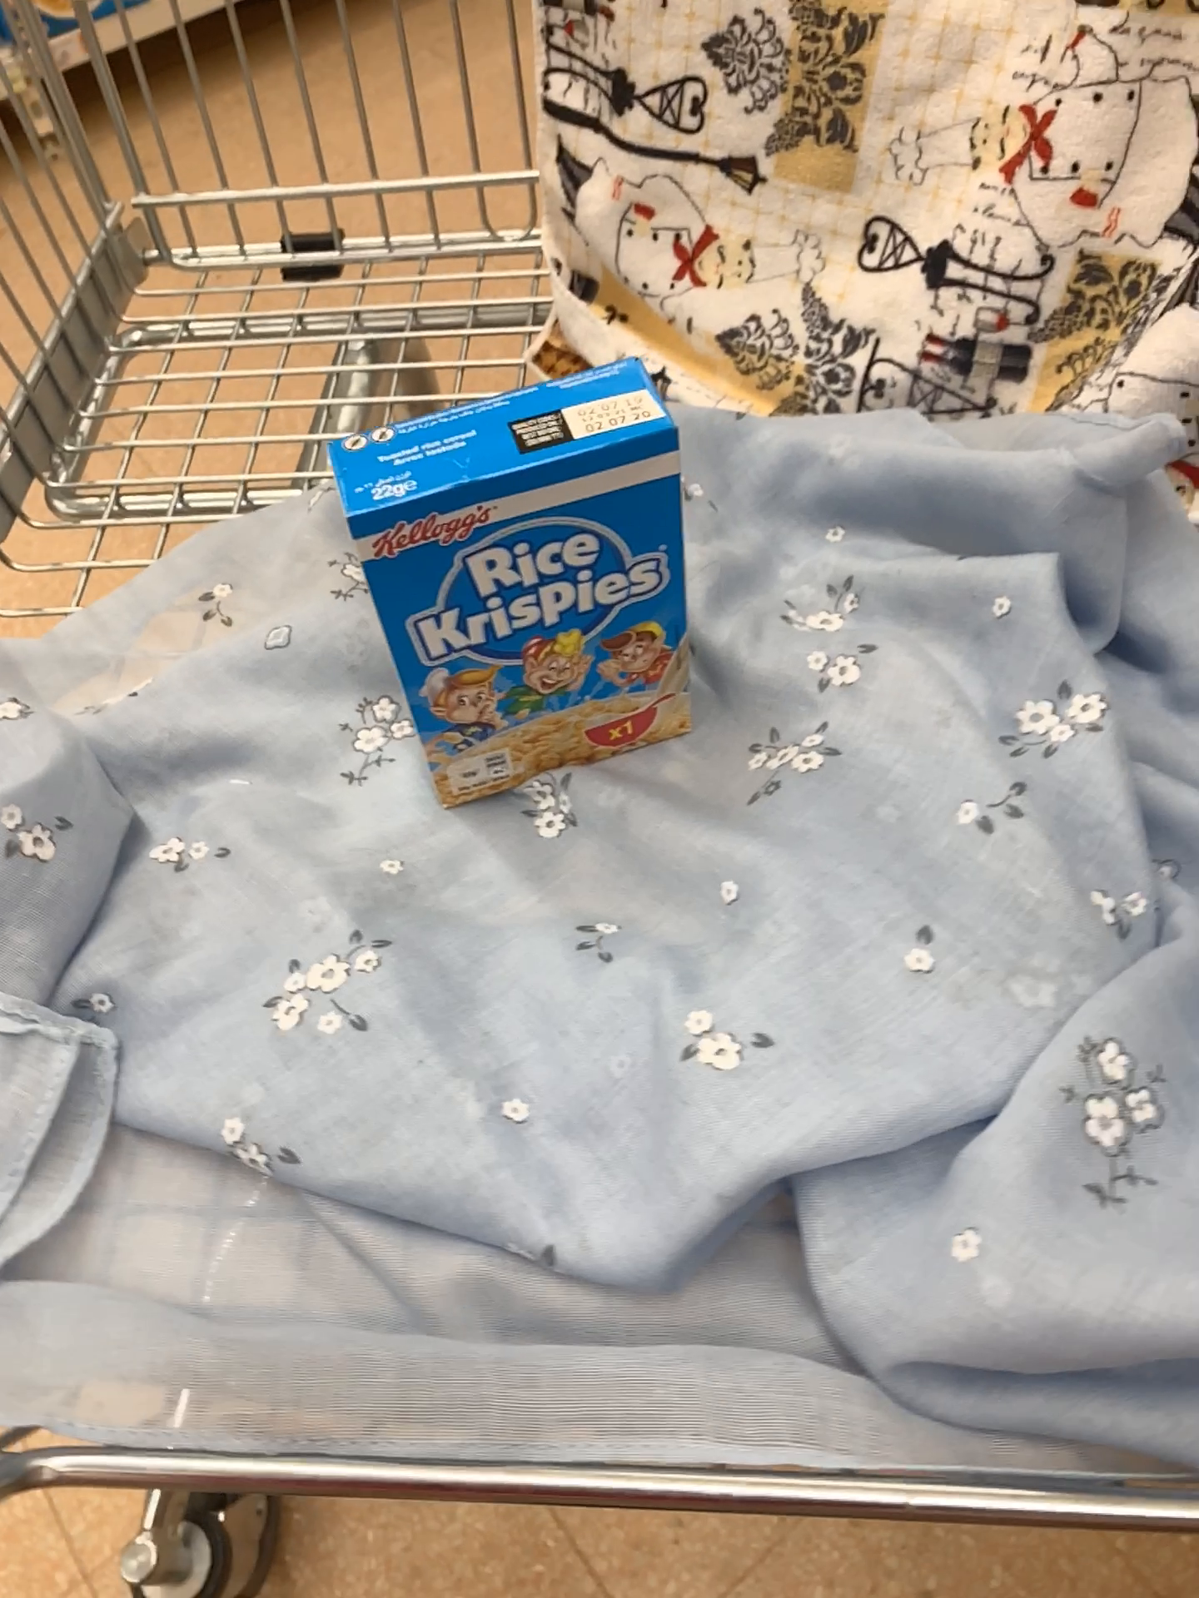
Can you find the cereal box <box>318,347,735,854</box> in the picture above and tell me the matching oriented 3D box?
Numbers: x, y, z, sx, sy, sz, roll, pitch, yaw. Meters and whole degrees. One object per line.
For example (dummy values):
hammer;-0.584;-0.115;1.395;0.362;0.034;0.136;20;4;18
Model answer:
cereal box;-0.014;-0.052;0.374;0.100;0.139;0.040;-19;56;-7
